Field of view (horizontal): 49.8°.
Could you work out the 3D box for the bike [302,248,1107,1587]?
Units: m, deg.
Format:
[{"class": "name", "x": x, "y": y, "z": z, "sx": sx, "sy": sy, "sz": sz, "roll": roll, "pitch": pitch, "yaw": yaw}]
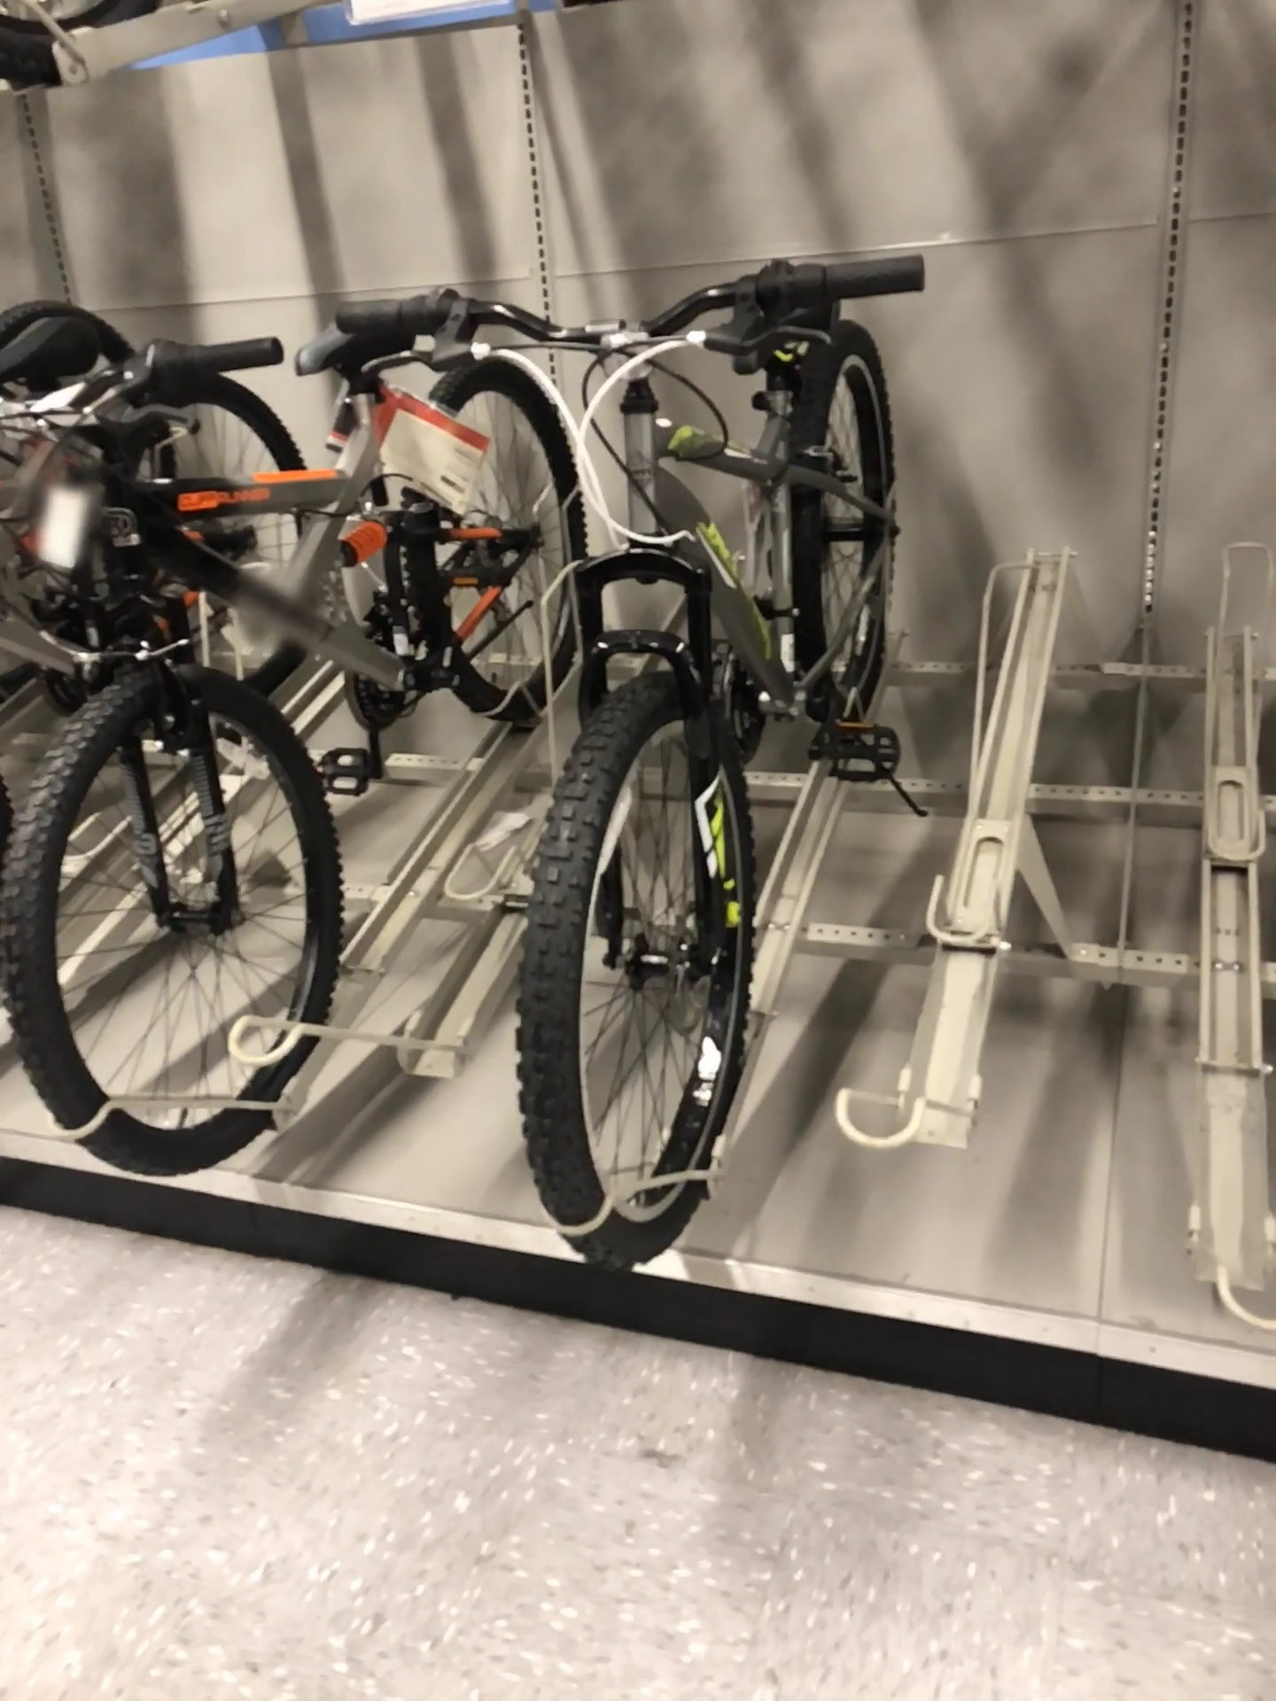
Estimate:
[{"class": "bike", "x": 0.266, "y": -0.180, "z": 1.944, "sx": 0.608, "sy": 0.728, "sz": 1.725, "roll": 4, "pitch": 36, "yaw": 21}]
